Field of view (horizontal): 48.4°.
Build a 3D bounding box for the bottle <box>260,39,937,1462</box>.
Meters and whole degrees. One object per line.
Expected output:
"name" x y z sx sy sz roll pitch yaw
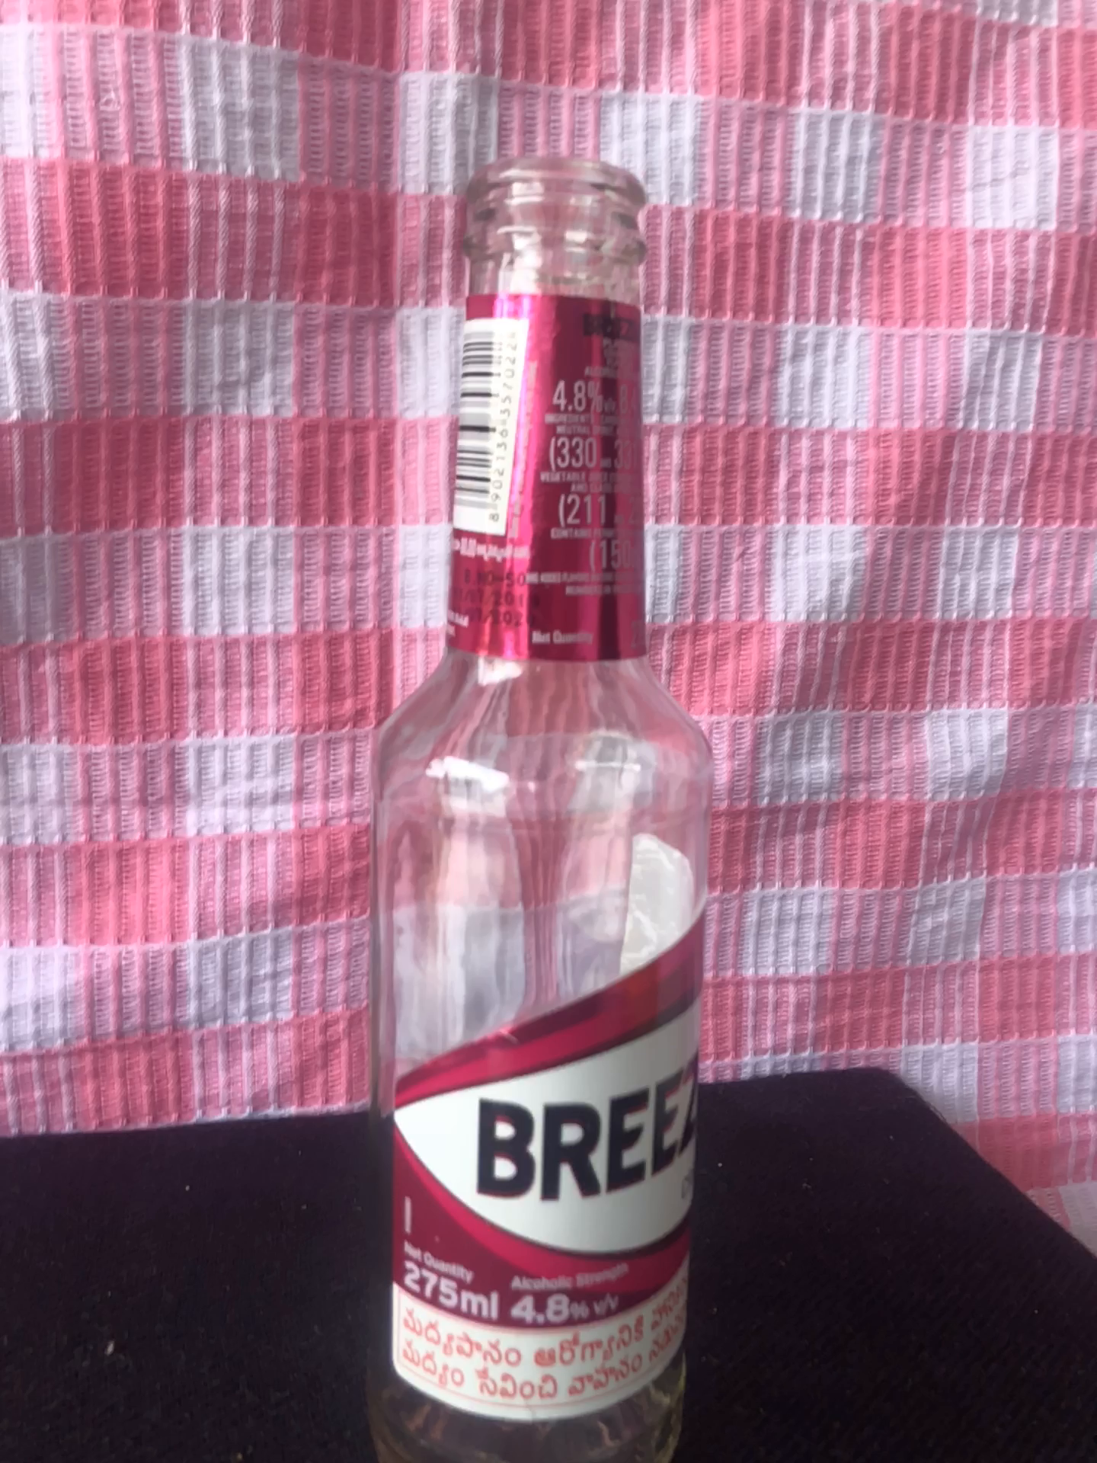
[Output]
"bottle" 0.001 0.026 0.180 0.060 0.209 0.060 4 12 -1
